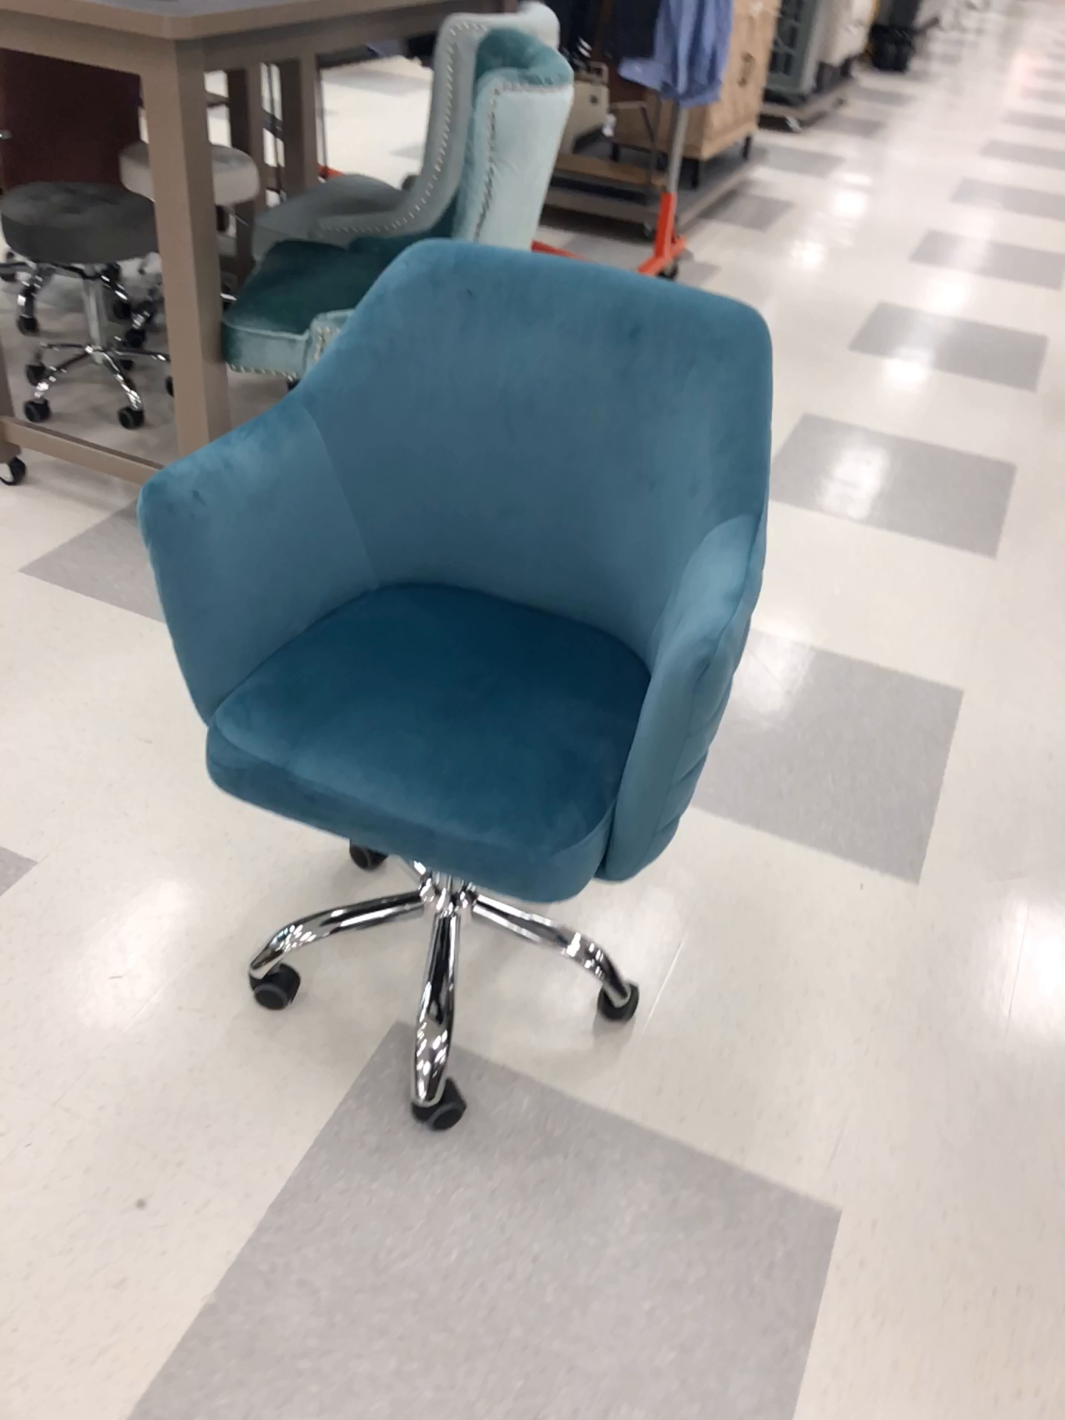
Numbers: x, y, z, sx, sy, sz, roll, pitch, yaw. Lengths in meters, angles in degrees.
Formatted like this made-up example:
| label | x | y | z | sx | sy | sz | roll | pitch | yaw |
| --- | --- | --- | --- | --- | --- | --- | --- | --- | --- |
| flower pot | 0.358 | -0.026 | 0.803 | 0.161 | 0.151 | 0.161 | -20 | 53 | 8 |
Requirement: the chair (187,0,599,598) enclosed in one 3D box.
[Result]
| label | x | y | z | sx | sy | sz | roll | pitch | yaw |
| --- | --- | --- | --- | --- | --- | --- | --- | --- | --- |
| chair | -0.271 | -0.858 | 2.437 | 0.651 | 0.966 | 0.740 | 3 | 37 | -5 |

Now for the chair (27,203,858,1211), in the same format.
| label | x | y | z | sx | sy | sz | roll | pitch | yaw |
| --- | --- | --- | --- | --- | --- | --- | --- | --- | --- |
| chair | -0.080 | -0.019 | 1.378 | 0.594 | 0.887 | 0.565 | 19 | 38 | 17 |
